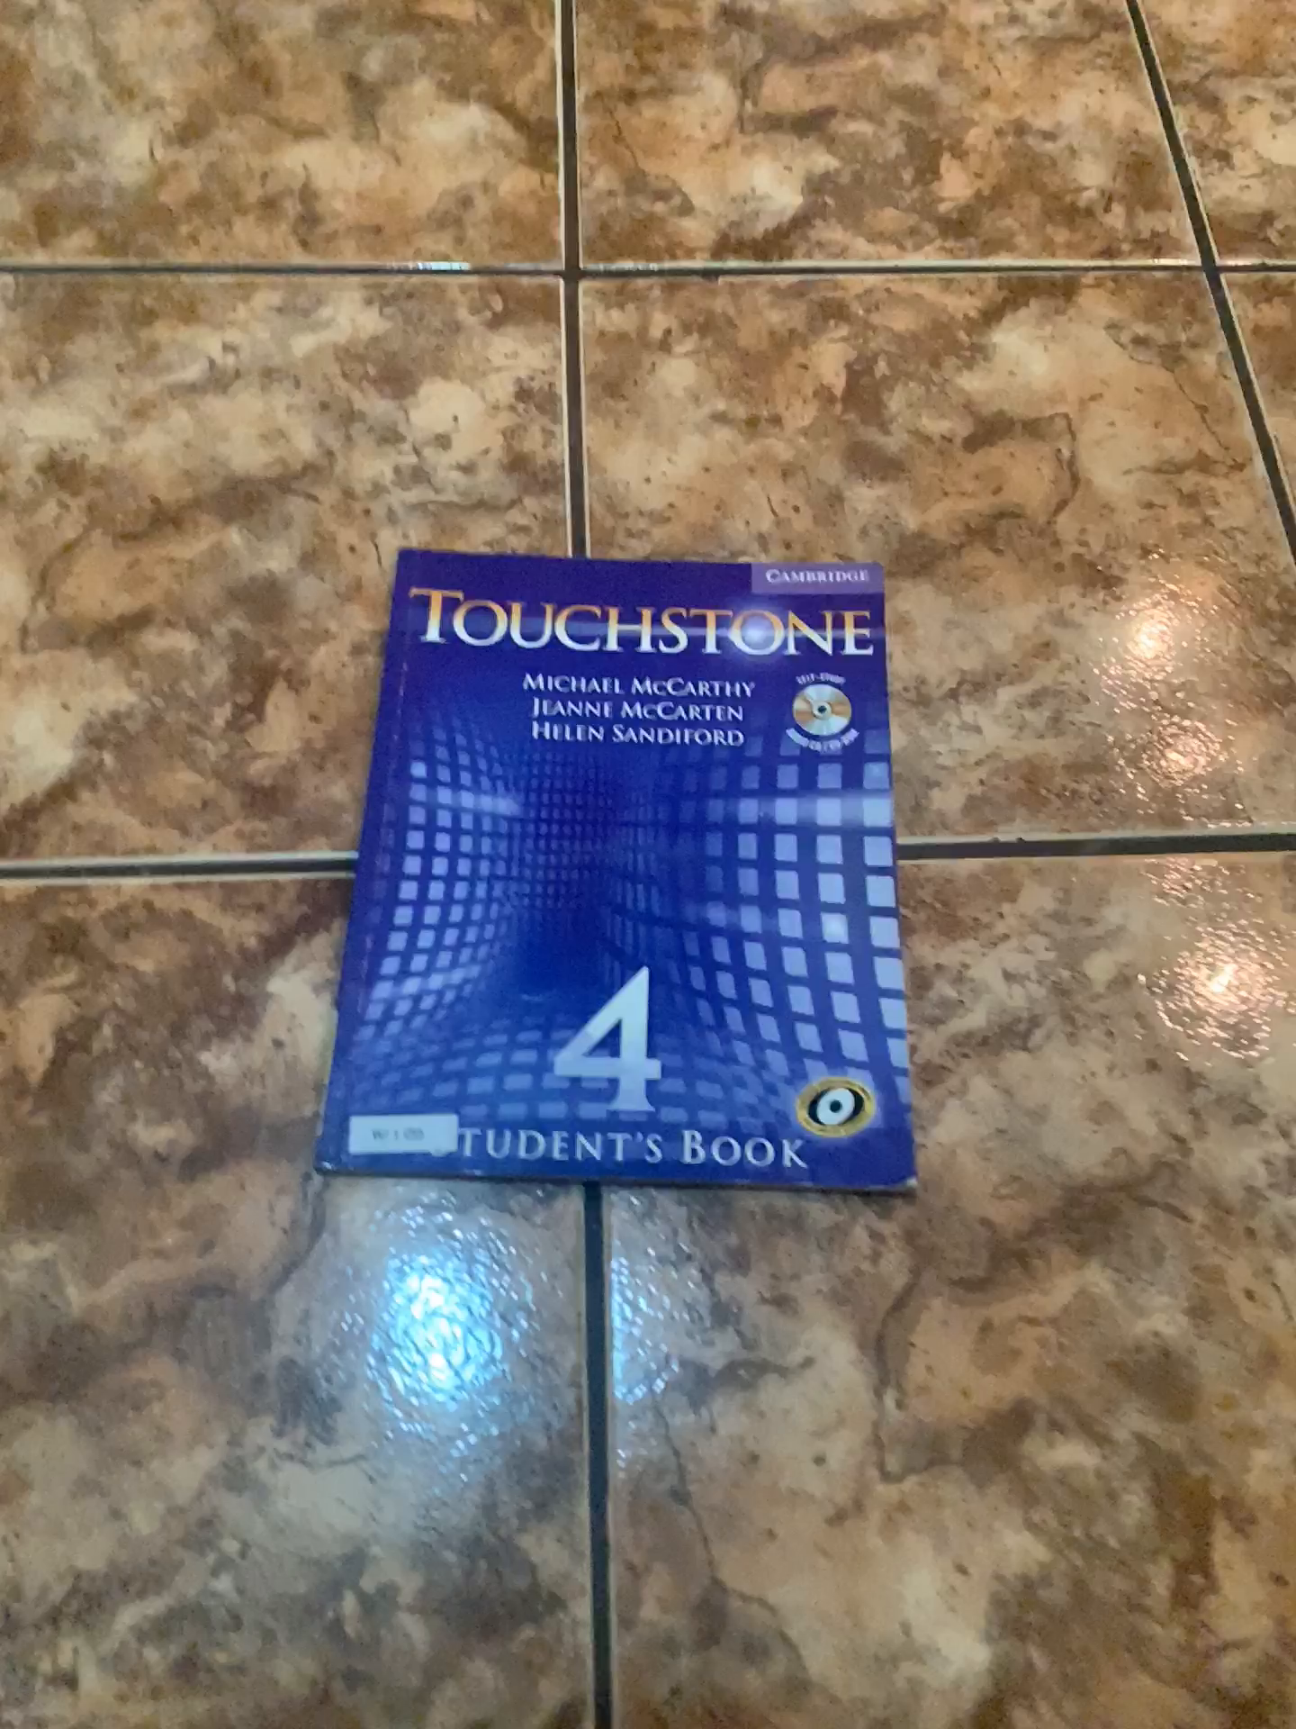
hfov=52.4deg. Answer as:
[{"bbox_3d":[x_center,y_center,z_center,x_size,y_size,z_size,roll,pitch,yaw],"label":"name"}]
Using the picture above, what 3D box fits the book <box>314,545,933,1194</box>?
[{"bbox_3d":[-0.006,-0.011,0.527,0.219,0.010,0.275,1,65,-1],"label":"book"}]
